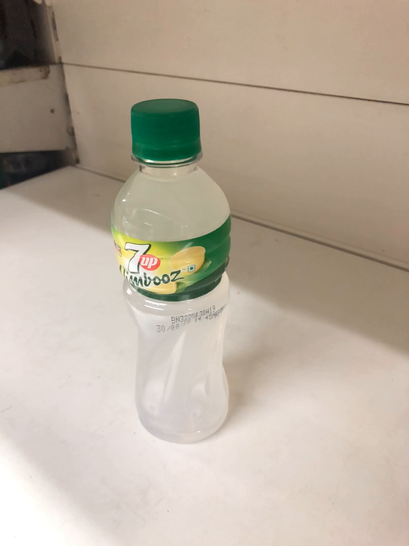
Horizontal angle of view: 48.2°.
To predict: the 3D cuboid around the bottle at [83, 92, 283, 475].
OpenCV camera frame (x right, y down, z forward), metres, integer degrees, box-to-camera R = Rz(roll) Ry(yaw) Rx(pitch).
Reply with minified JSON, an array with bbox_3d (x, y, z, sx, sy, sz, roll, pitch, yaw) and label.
[{"bbox_3d":[-0.008,0.011,0.257,0.070,0.199,0.060,15,33,24],"label":"bottle"}]
